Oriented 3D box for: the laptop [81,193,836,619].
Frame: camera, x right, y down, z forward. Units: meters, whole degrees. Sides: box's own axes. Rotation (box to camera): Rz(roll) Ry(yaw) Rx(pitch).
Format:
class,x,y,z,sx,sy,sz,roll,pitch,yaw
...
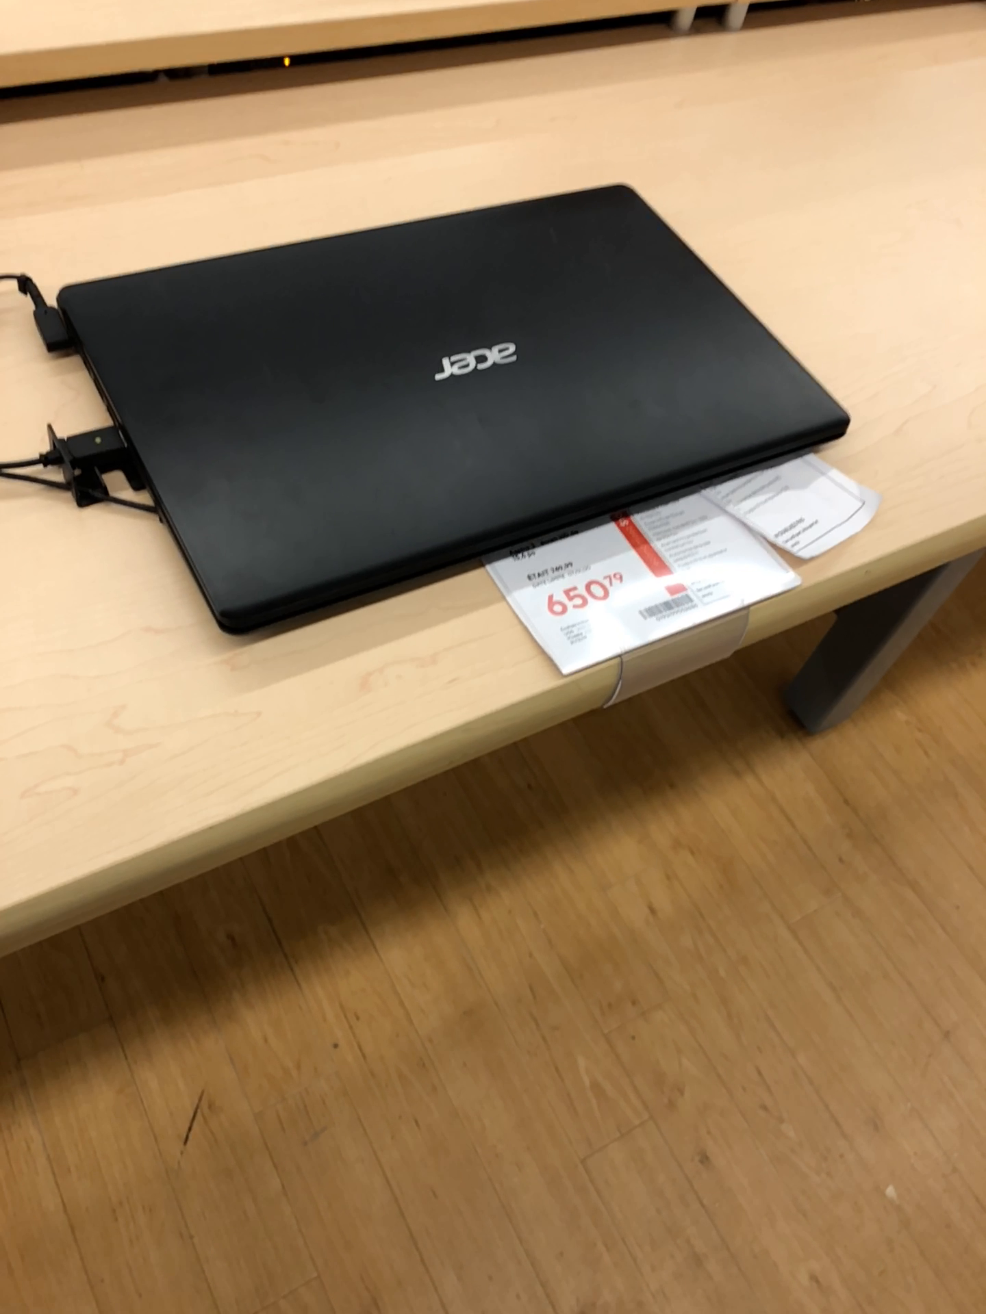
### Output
class,x,y,z,sx,sy,sz,roll,pitch,yaw
laptop,-0.009,-0.155,0.570,0.347,0.003,0.212,-21,62,-25
